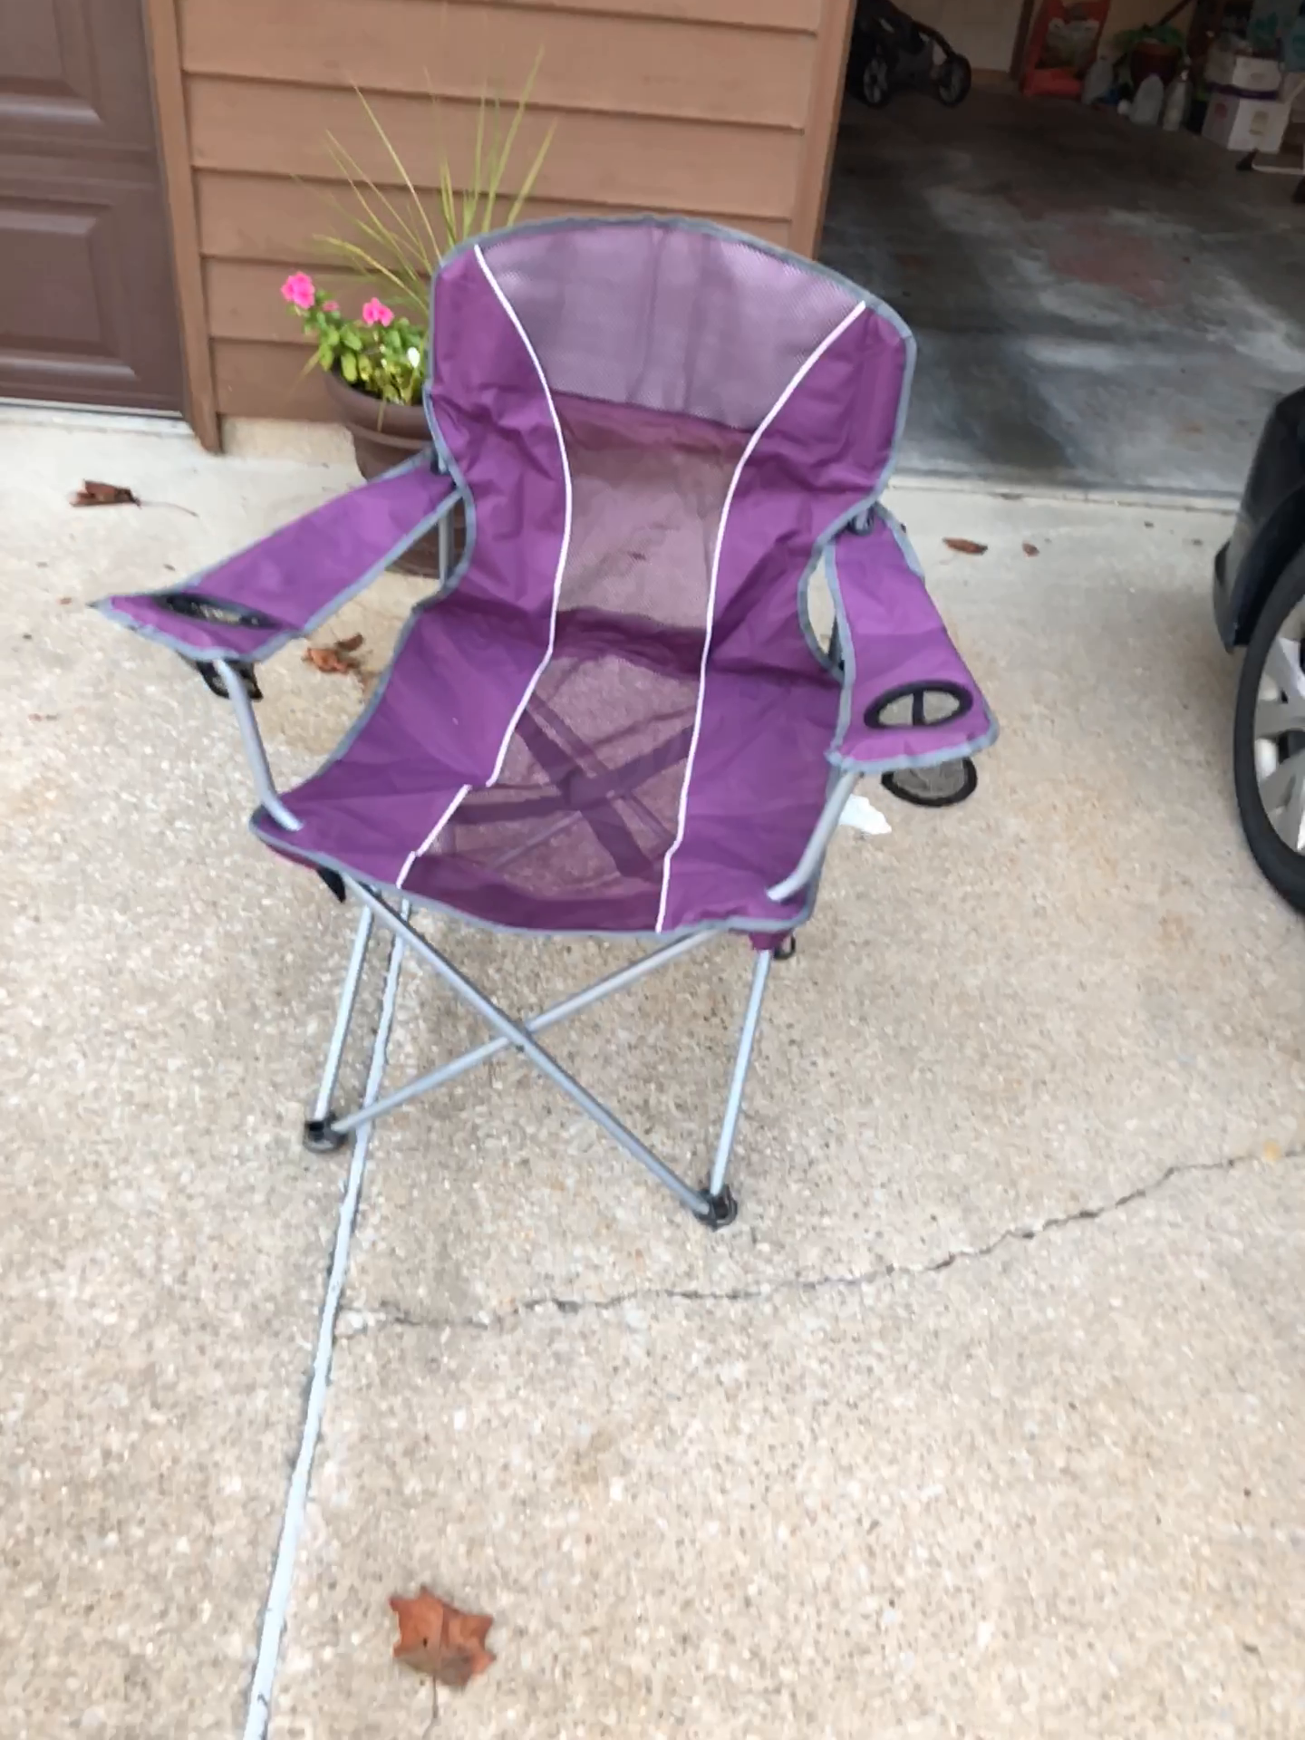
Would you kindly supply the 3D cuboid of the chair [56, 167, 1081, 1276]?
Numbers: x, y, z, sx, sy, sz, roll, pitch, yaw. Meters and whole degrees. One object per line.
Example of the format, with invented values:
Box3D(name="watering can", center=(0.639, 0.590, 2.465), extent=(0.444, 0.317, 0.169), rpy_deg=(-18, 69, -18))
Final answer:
Box3D(name="chair", center=(-0.049, -0.189, 1.579), extent=(0.760, 0.878, 0.712), rpy_deg=(9, 36, 5))
